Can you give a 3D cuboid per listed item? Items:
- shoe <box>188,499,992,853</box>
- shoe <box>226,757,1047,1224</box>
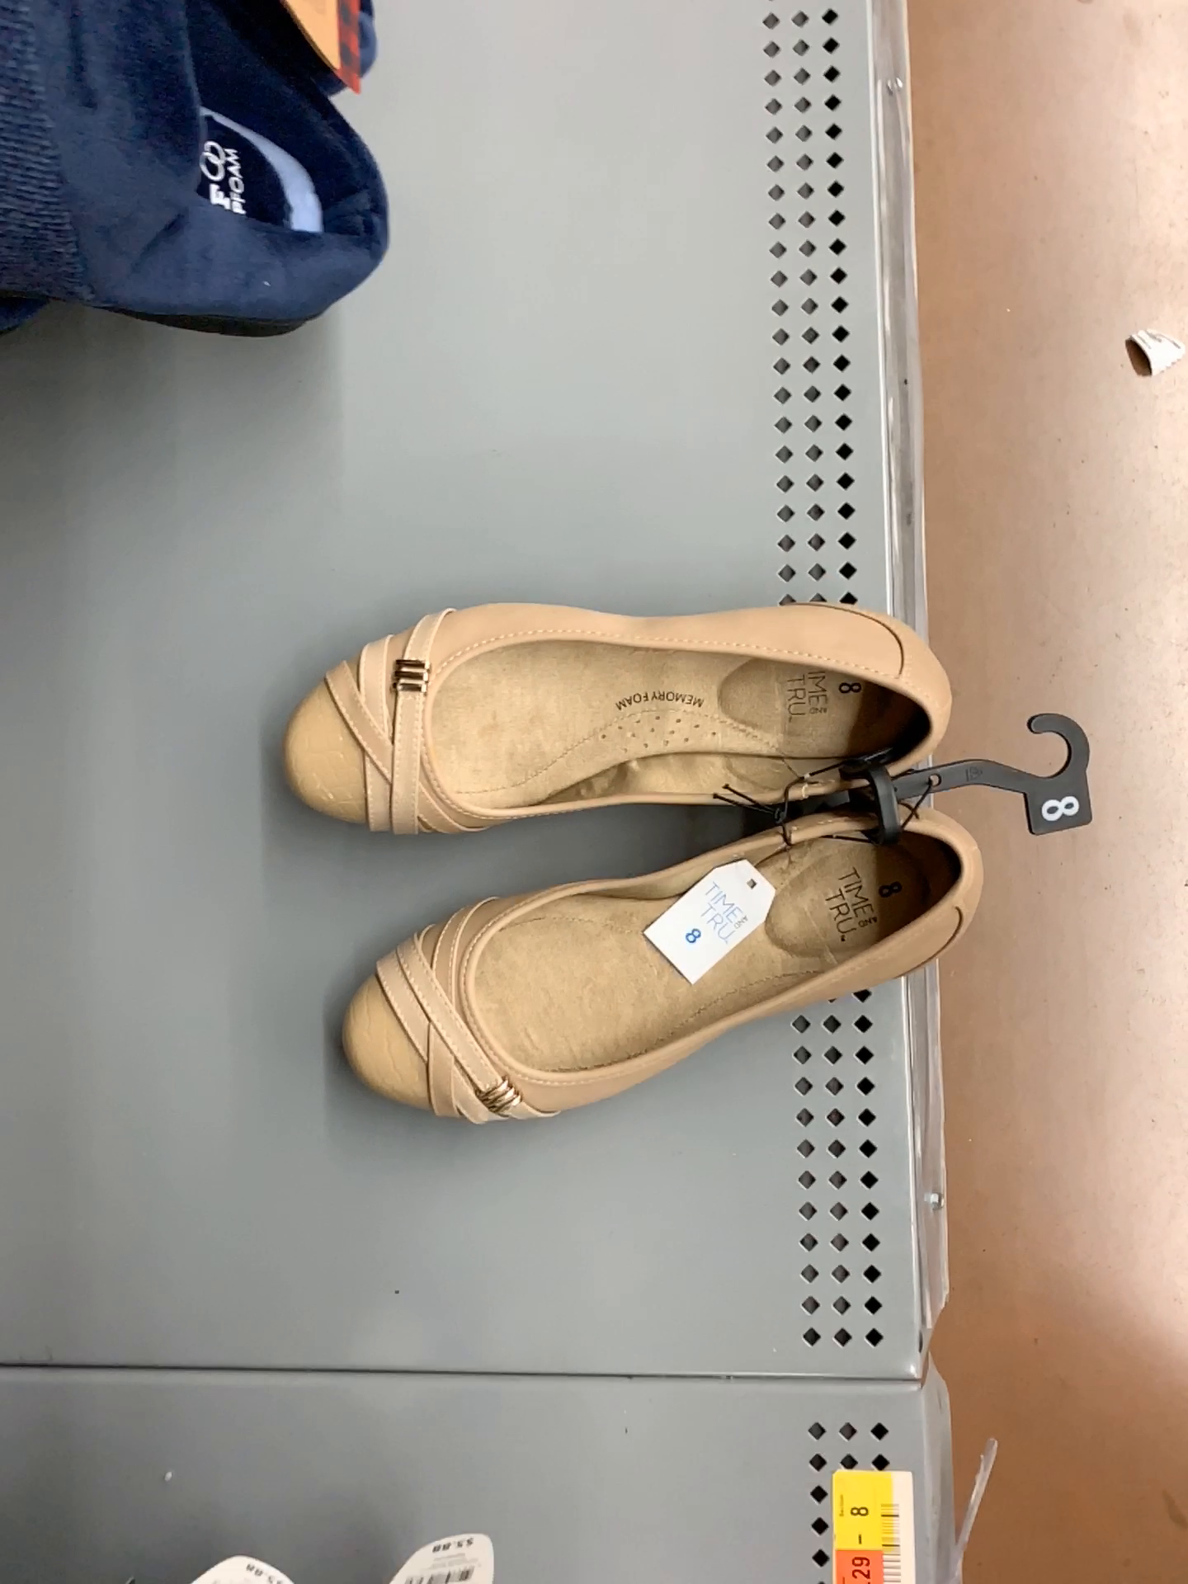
[{"bbox_3d":[-0.002,-0.038,0.482,0.280,0.100,0.100,-5,87,5],"label":"shoe"},{"bbox_3d":[0.015,0.075,0.488,0.280,0.100,0.100,-15,86,4],"label":"shoe"}]
